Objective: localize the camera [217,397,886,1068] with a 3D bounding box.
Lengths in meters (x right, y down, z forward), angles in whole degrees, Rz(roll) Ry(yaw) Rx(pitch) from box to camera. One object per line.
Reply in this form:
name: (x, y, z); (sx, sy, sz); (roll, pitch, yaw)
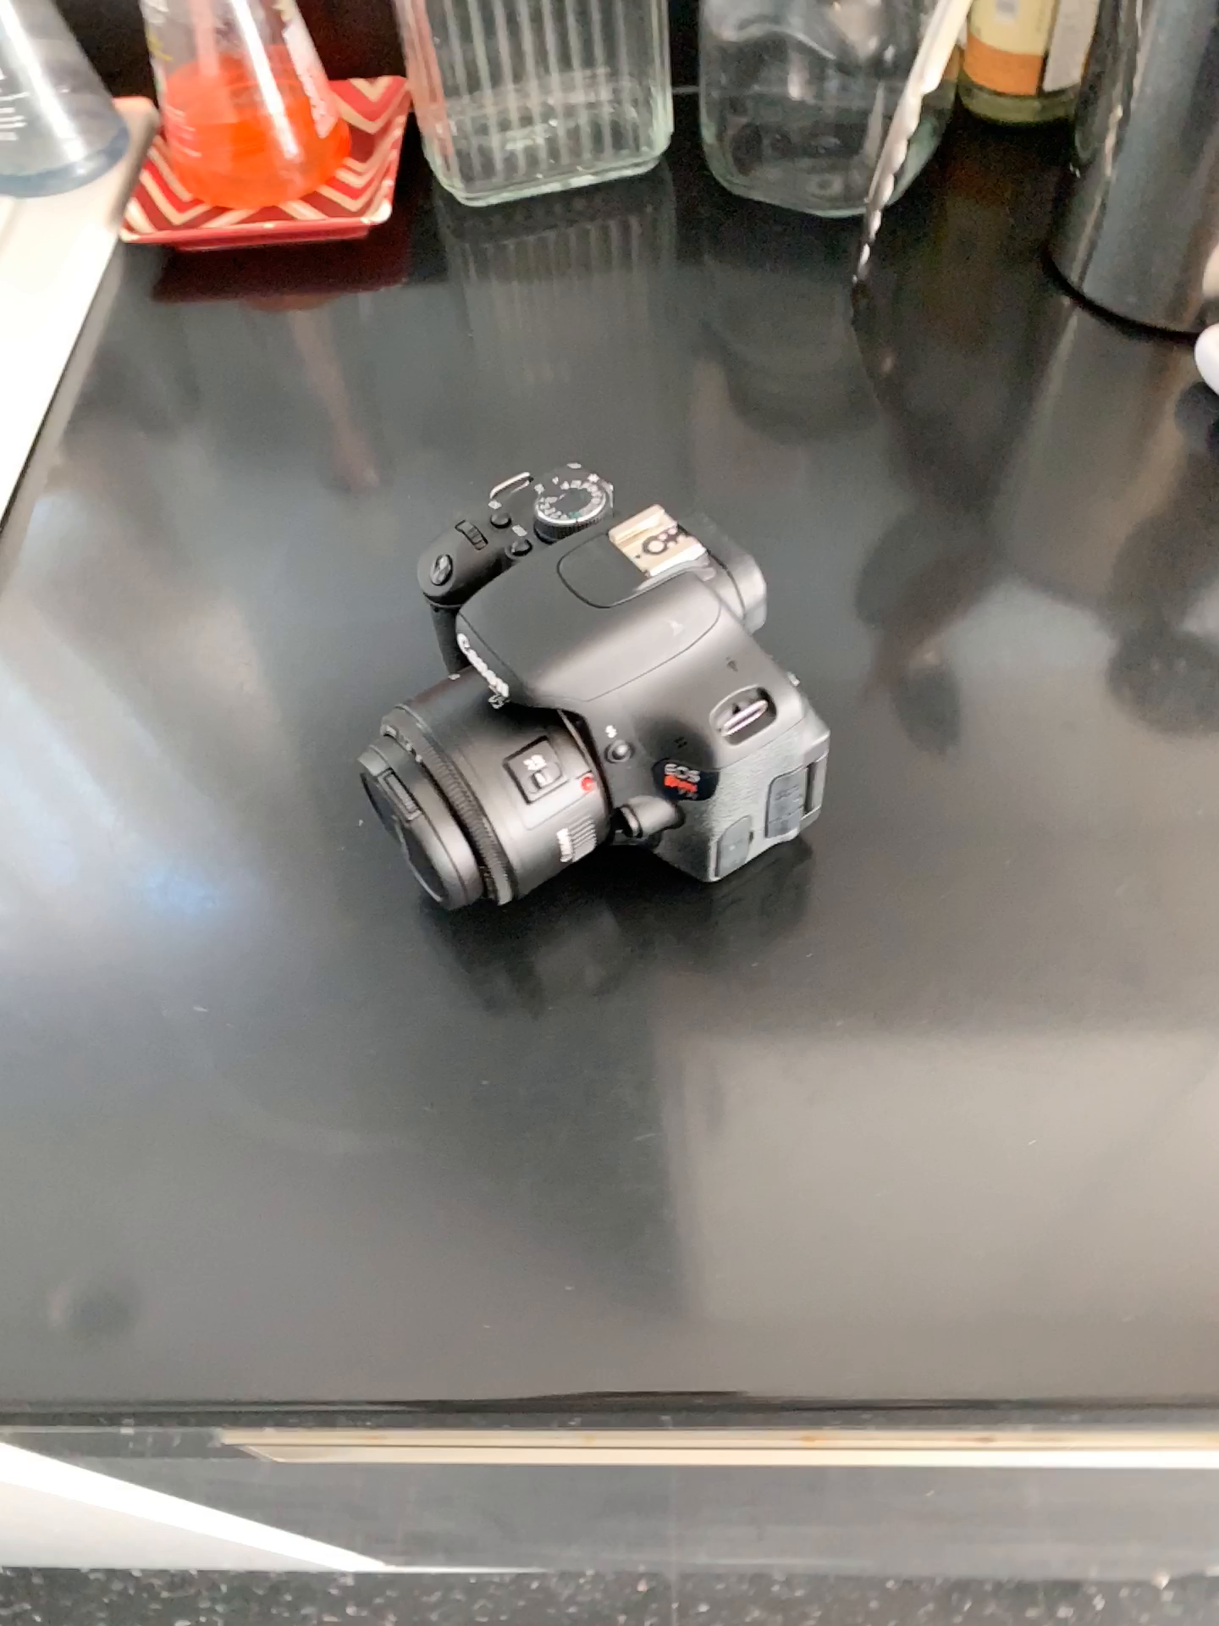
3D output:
camera: (-0.017, -0.030, 0.411); (0.145, 0.100, 0.140); (-32, 59, -16)
